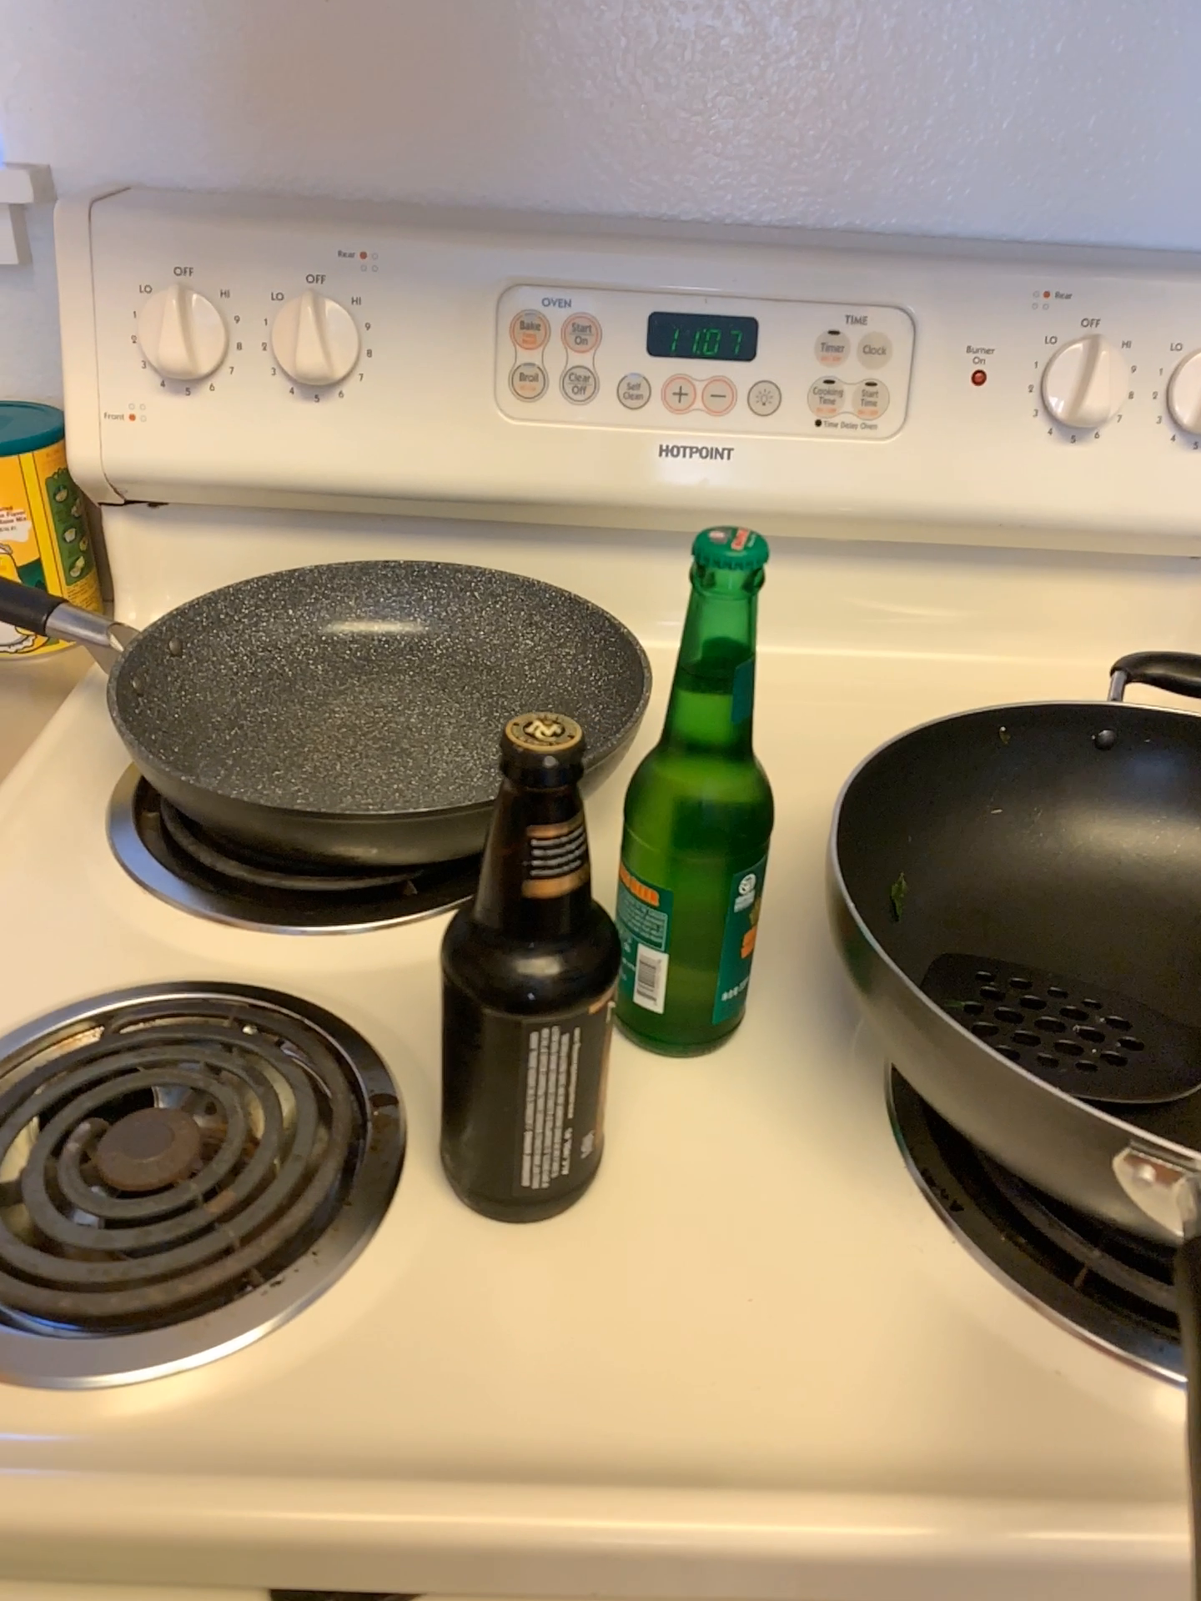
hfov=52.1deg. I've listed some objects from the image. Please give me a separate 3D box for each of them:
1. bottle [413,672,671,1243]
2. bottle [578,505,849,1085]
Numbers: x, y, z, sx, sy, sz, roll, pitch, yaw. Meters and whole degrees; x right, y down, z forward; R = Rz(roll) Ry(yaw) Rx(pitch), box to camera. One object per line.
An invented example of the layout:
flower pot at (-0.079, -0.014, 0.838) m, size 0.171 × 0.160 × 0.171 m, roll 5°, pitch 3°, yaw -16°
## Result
bottle at (-0.025, 0.058, 0.424) m, size 0.070 × 0.189 × 0.070 m, roll 2°, pitch 32°, yaw -1°
bottle at (0.038, 0.003, 0.471) m, size 0.060 × 0.209 × 0.060 m, roll 2°, pitch 32°, yaw -1°
